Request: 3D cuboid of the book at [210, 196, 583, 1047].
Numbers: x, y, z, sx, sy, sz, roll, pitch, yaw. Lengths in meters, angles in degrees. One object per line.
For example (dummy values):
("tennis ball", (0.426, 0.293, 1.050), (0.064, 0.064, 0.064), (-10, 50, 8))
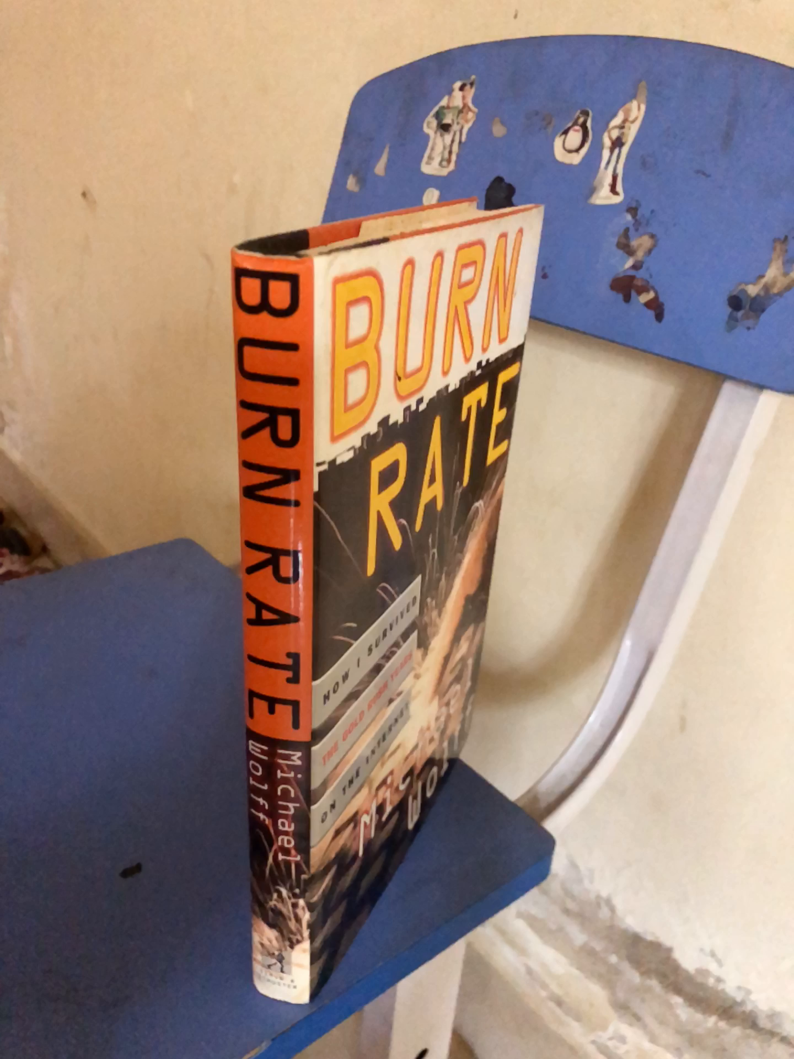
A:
("book", (0.008, 0.012, 0.321), (0.040, 0.239, 0.201), (13, 25, 19))
